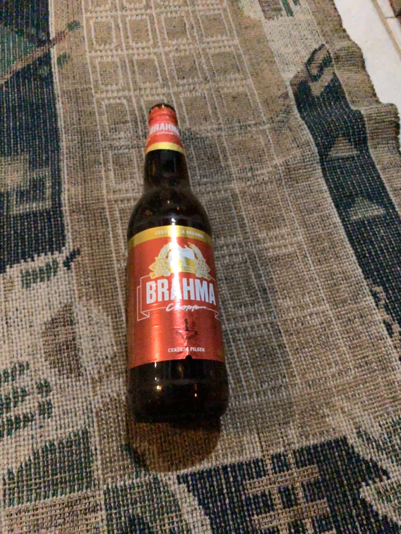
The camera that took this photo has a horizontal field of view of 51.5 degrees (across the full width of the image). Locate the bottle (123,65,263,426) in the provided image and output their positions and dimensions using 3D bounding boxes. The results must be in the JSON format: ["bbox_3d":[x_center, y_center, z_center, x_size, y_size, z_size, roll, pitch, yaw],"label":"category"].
[{"bbox_3d":[-0.019,-0.031,0.324,0.080,0.060,0.281,-1,65,-10],"label":"bottle"}]
